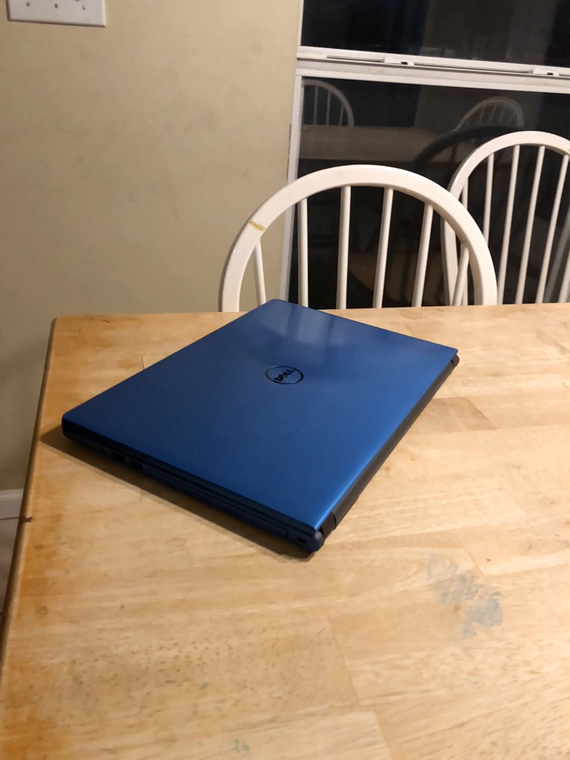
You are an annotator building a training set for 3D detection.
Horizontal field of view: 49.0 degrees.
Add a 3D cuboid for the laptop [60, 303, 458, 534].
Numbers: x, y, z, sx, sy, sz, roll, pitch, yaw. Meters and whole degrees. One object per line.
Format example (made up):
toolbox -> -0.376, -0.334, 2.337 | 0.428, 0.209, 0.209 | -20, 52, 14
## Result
laptop -> 0.004, 0.002, 0.666 | 0.259, 0.001, 0.389 | 18, 30, 24
